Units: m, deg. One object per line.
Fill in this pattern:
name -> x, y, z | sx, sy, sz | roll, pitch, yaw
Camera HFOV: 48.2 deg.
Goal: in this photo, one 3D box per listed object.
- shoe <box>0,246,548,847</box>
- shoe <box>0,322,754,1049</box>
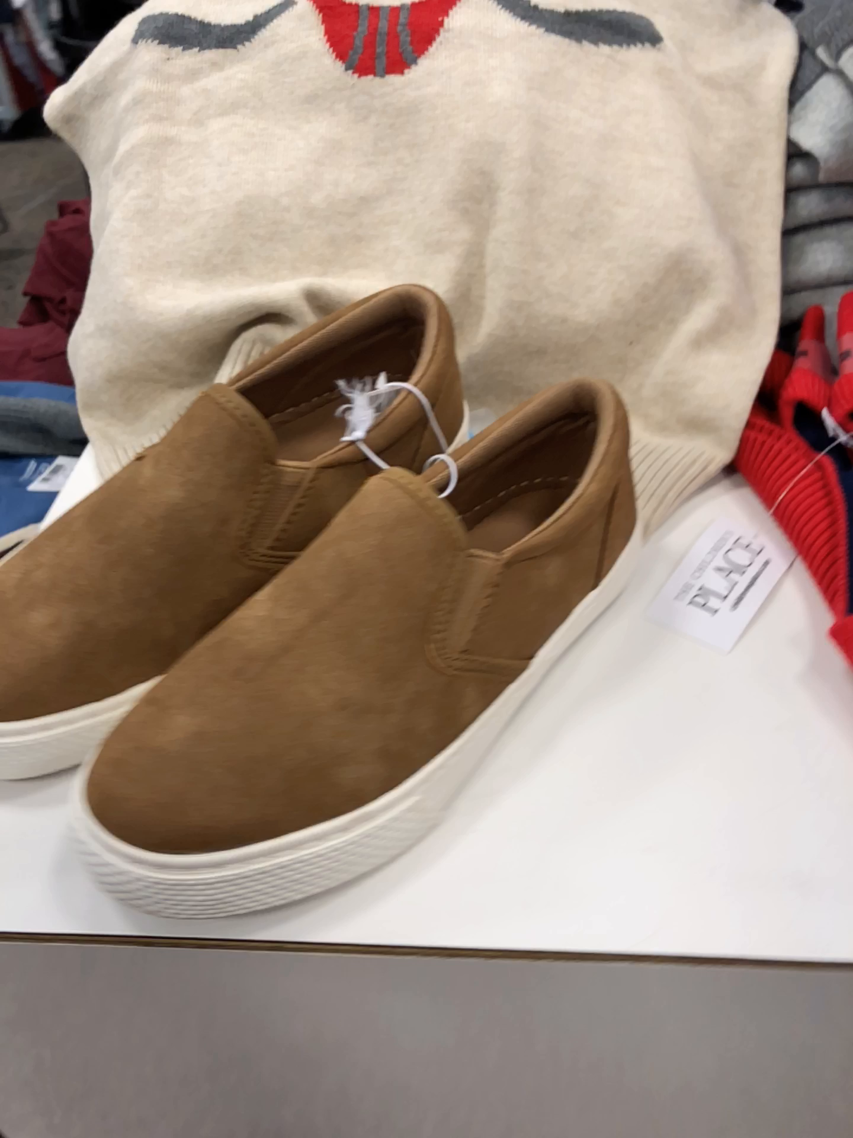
shoe -> -0.072, -0.026, 0.330 | 0.230, 0.080, 0.092 | -33, 49, -30
shoe -> -0.002, 0.014, 0.303 | 0.092, 0.080, 0.230 | 30, 50, 31
